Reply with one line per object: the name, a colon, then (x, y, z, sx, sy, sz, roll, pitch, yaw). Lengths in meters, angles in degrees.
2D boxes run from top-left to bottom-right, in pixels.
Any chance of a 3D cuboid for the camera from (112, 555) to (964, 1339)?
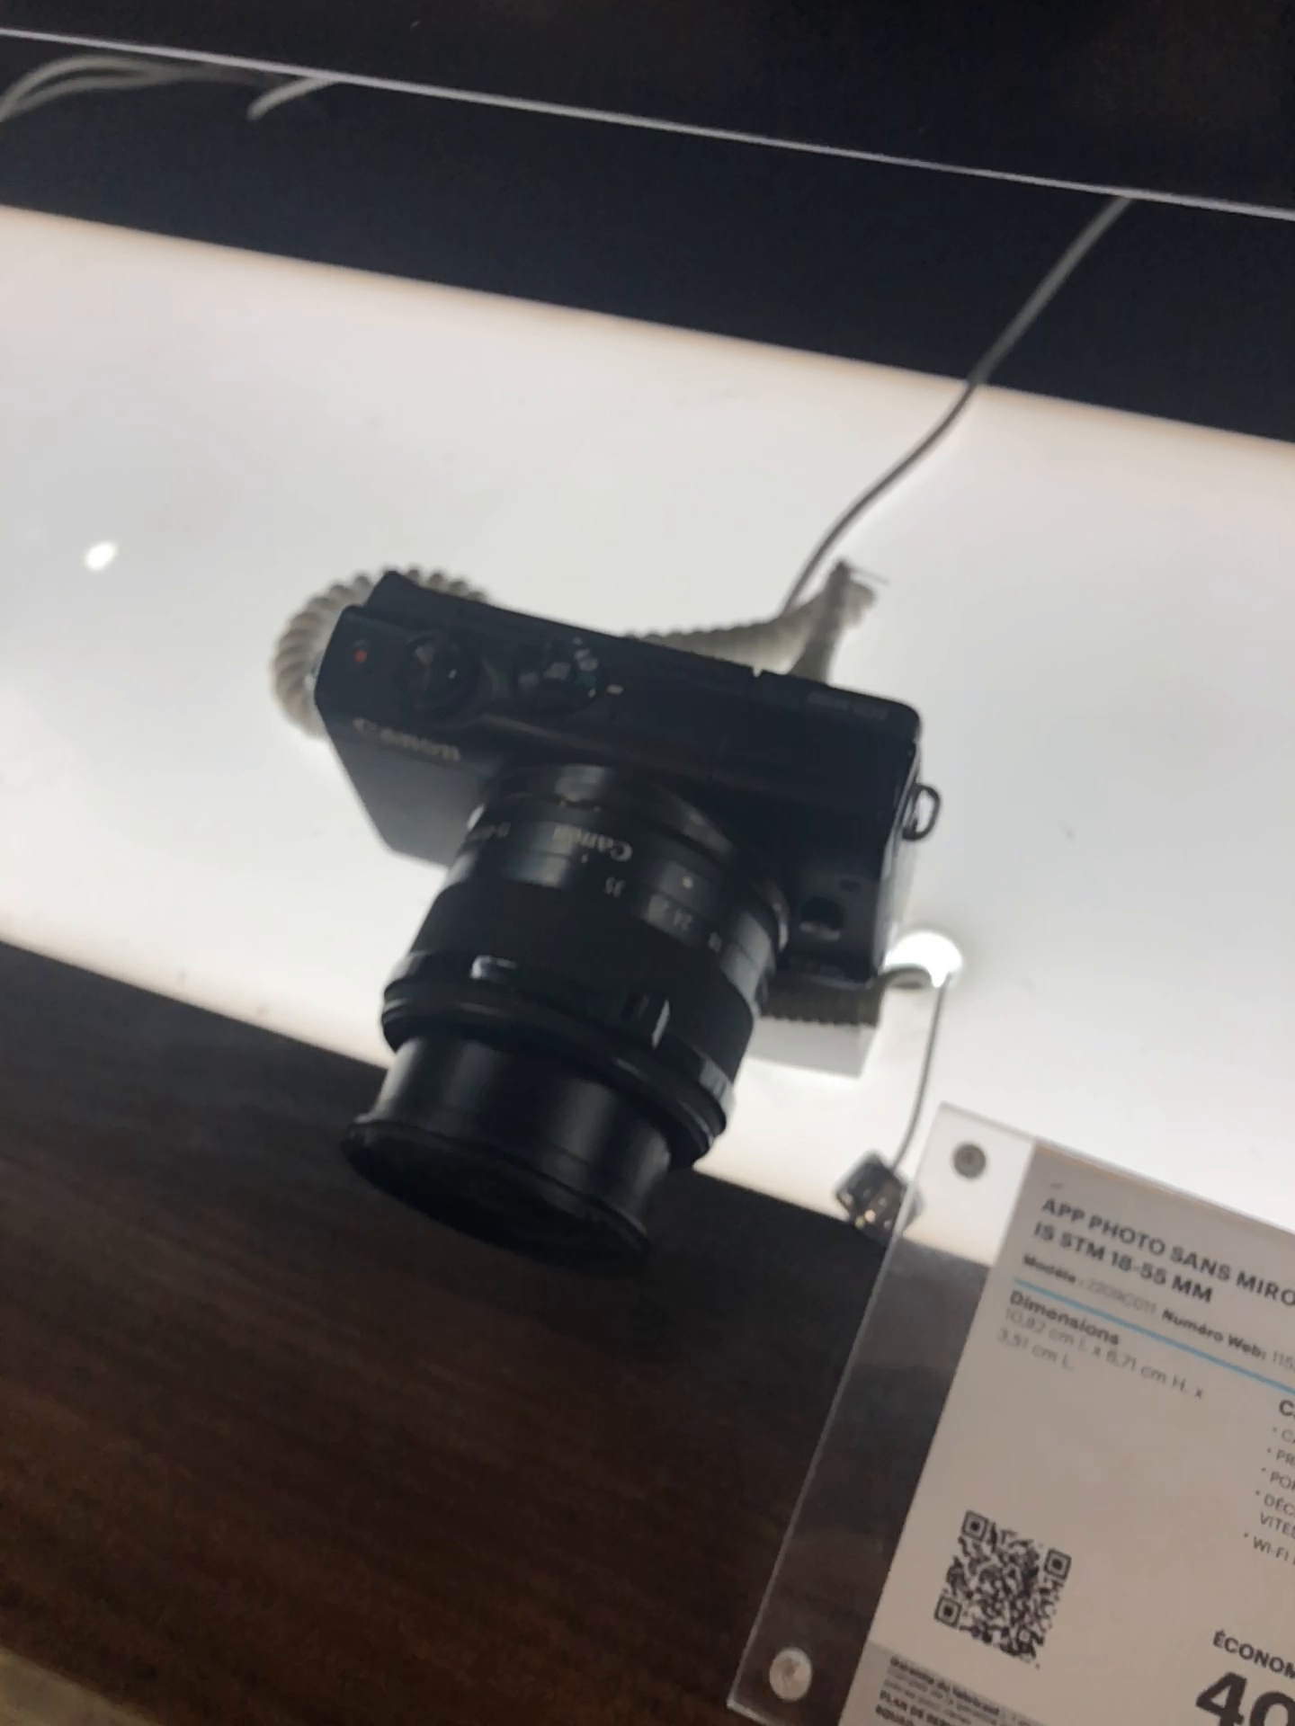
camera: (-0.013, 0.013, 0.268, 0.112, 0.071, 0.094, 16, 58, 15)
